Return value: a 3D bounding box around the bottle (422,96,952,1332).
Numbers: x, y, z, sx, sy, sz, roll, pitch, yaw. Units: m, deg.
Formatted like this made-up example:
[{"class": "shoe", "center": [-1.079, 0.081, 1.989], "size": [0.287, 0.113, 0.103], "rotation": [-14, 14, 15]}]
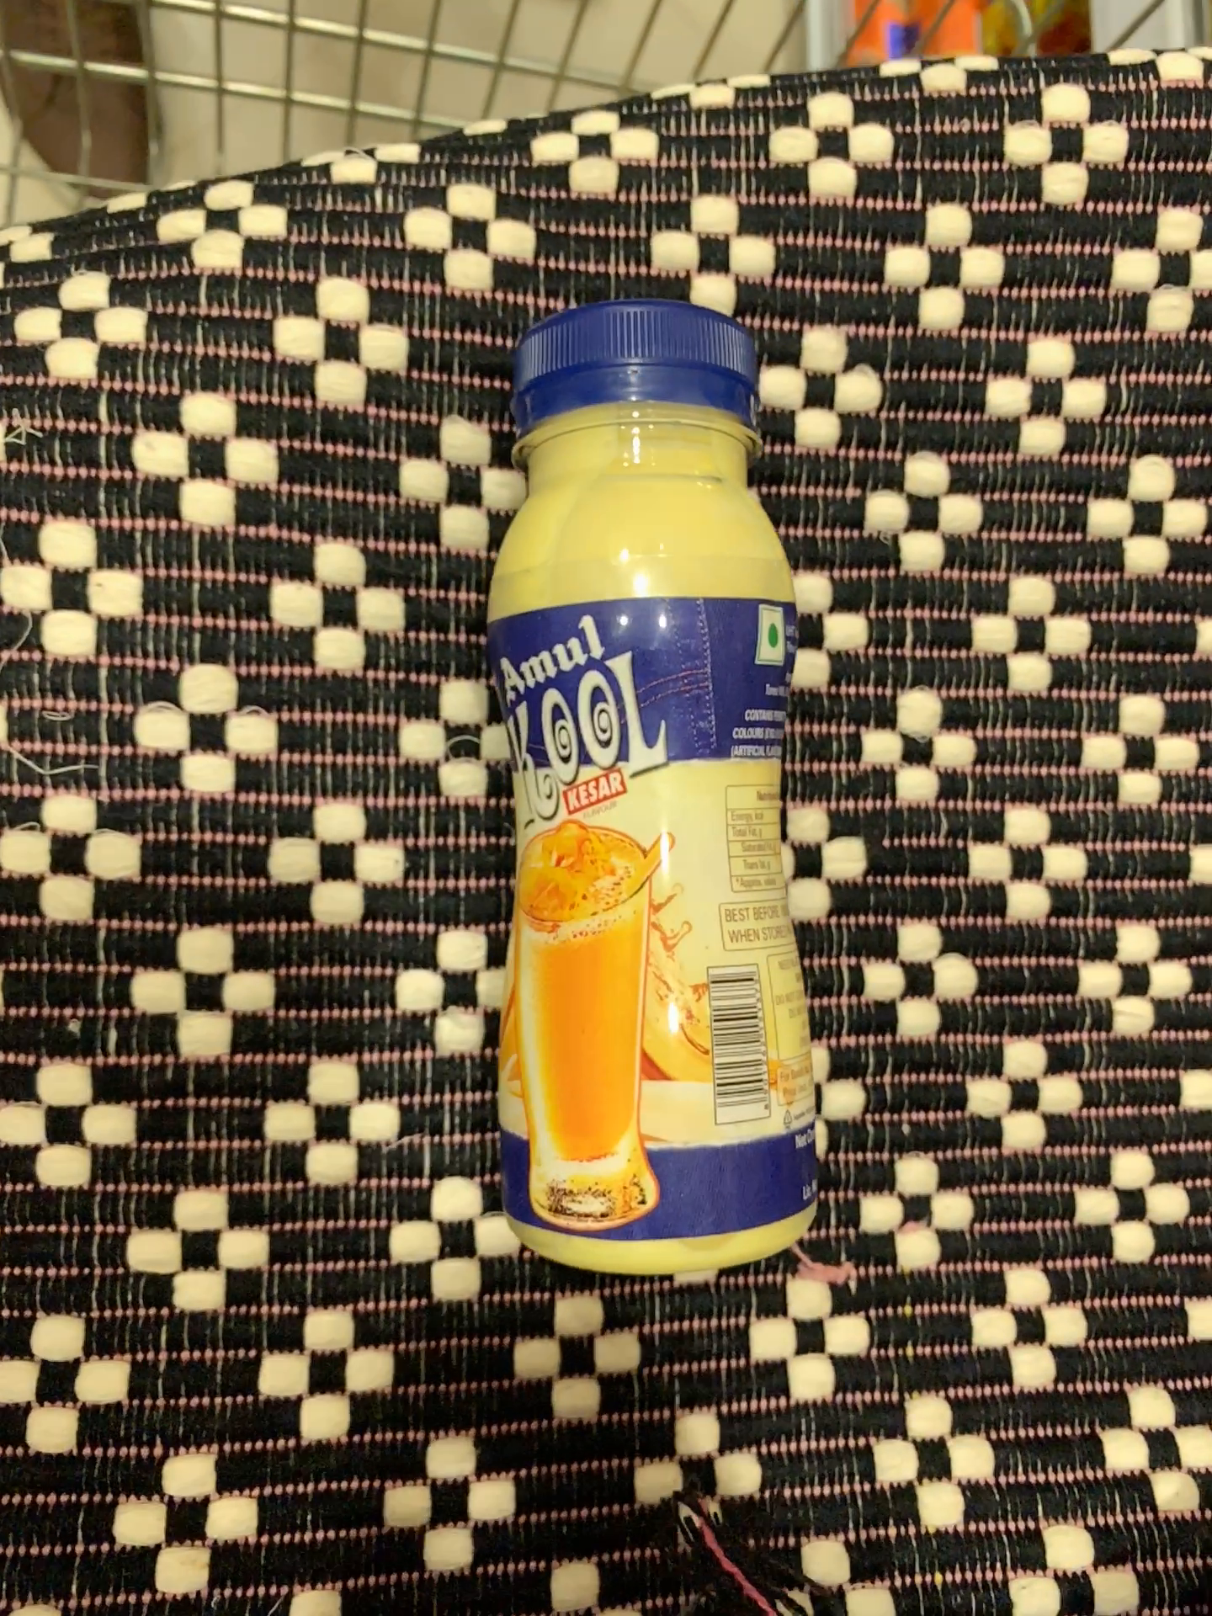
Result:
[{"class": "bottle", "center": [0.013, -0.012, 0.205], "size": [0.060, 0.060, 0.160], "rotation": [4, 84, -52]}]
